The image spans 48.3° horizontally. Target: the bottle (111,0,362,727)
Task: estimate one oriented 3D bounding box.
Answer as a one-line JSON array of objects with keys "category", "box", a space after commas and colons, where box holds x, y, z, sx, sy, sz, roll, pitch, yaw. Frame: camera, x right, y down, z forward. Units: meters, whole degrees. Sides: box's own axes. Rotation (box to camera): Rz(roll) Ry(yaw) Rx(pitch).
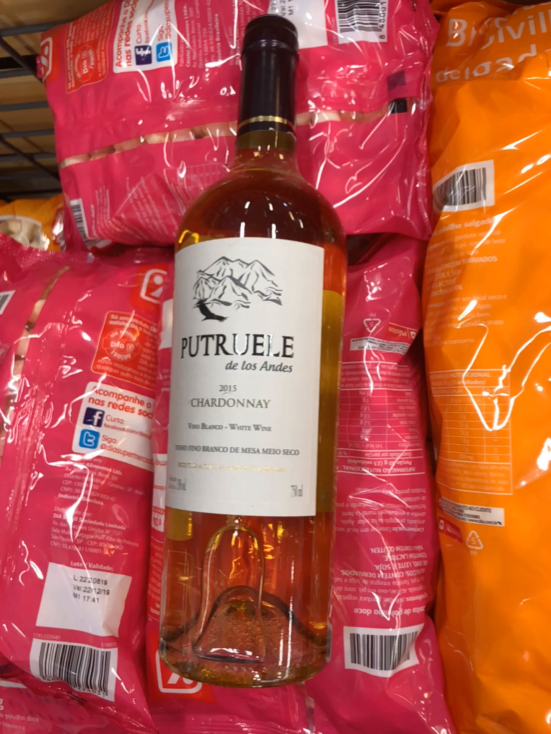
[{"category": "bottle", "box": [-0.006, -0.023, 0.270, 0.080, 0.070, 0.300, 1, 80, 10]}]
